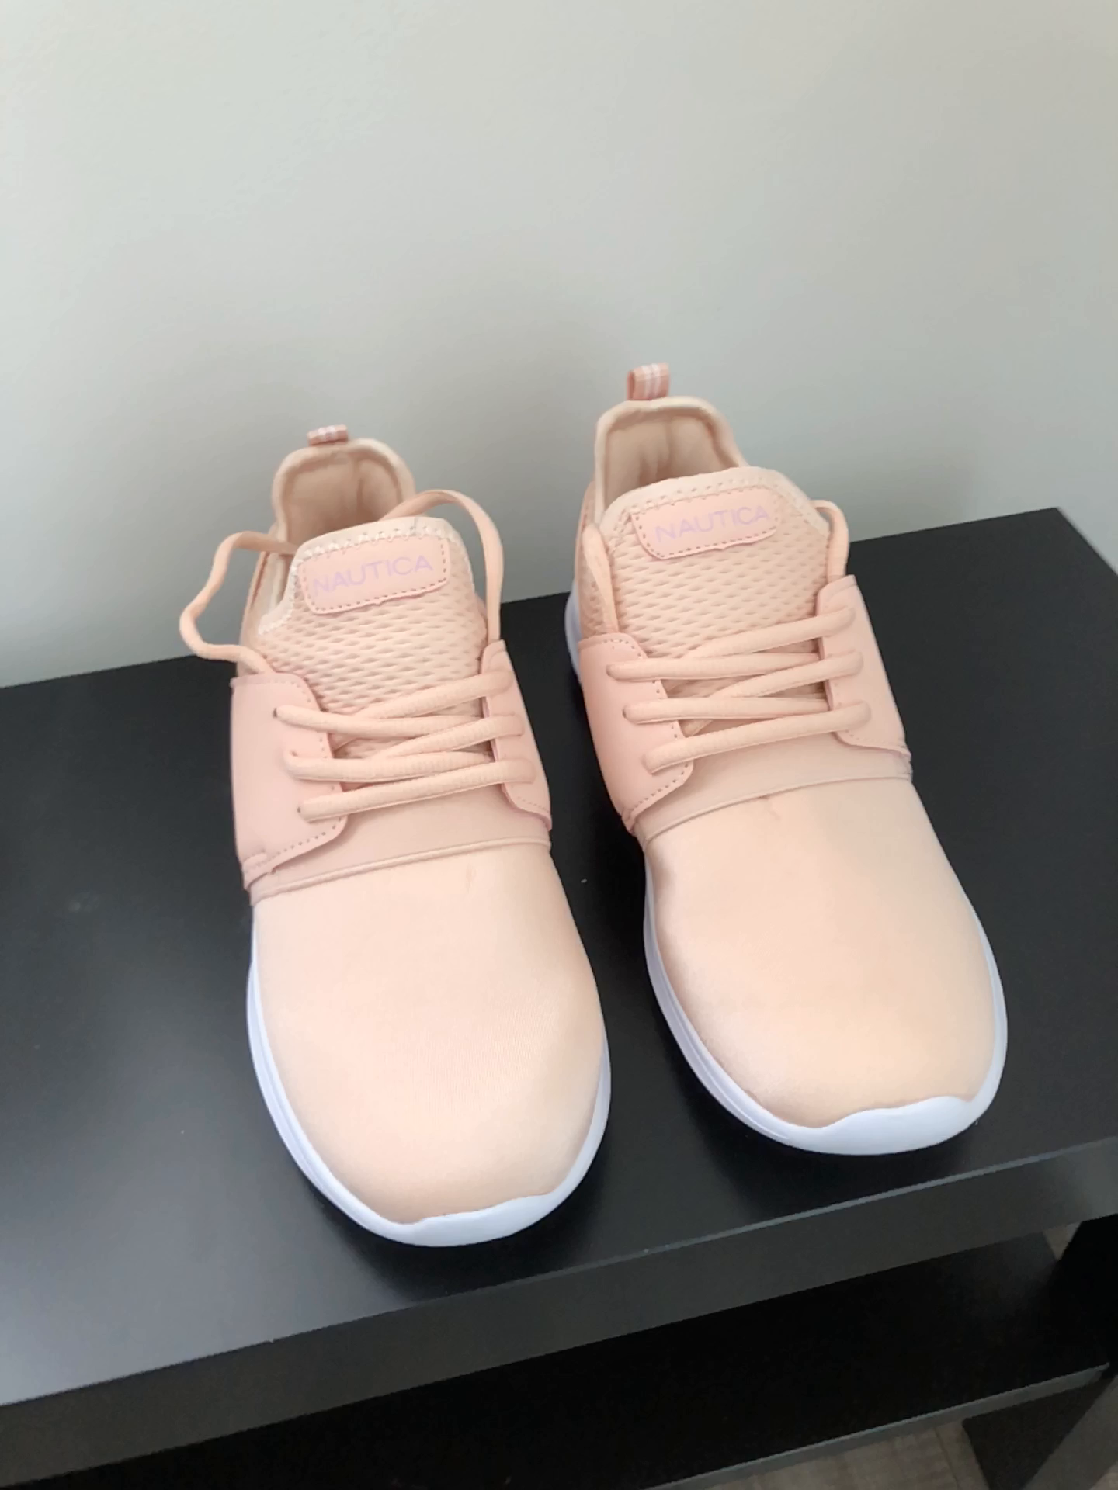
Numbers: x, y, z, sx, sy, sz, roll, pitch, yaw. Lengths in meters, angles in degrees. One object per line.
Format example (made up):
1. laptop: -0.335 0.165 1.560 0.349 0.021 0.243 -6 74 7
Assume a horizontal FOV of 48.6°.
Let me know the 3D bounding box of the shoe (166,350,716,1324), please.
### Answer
1. shoe: -0.046 0.004 0.349 0.100 0.110 0.251 -10 45 -8

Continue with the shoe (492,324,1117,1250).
1. shoe: 0.056 -0.008 0.351 0.100 0.110 0.241 -10 45 -8
